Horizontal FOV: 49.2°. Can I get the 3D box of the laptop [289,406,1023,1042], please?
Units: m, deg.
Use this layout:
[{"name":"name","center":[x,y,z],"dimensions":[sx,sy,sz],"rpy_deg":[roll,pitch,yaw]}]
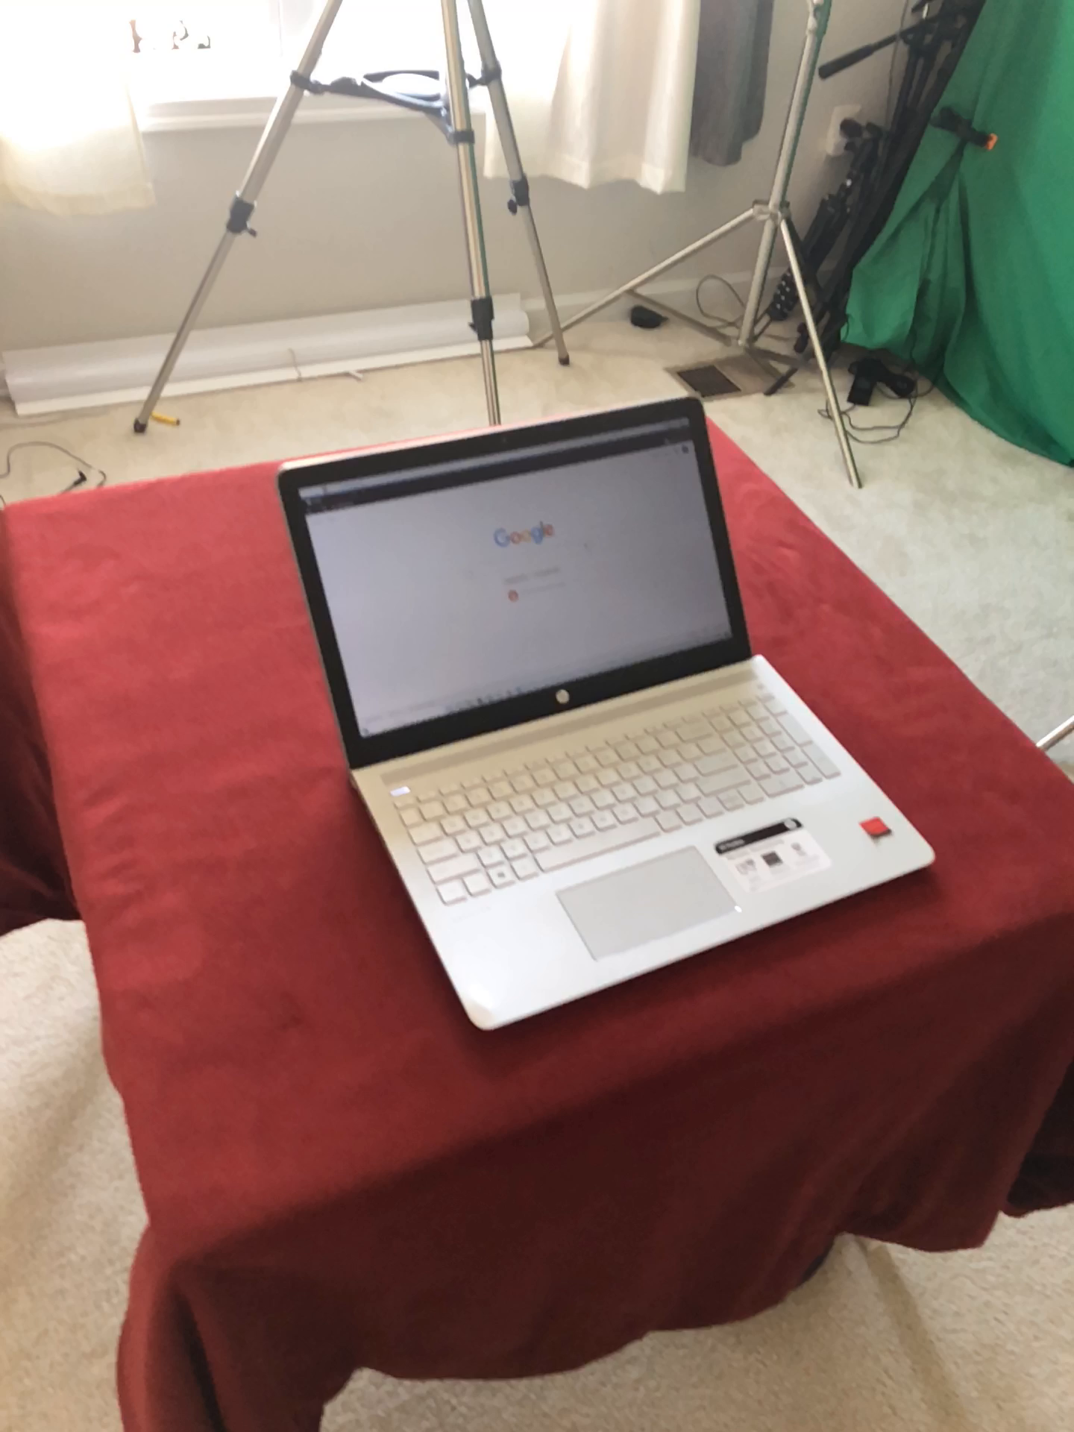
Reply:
[{"name":"laptop","center":[0.057,-0.031,0.857],"dimensions":[0.360,0.158,0.397],"rpy_deg":[-15,48,-21]}]
